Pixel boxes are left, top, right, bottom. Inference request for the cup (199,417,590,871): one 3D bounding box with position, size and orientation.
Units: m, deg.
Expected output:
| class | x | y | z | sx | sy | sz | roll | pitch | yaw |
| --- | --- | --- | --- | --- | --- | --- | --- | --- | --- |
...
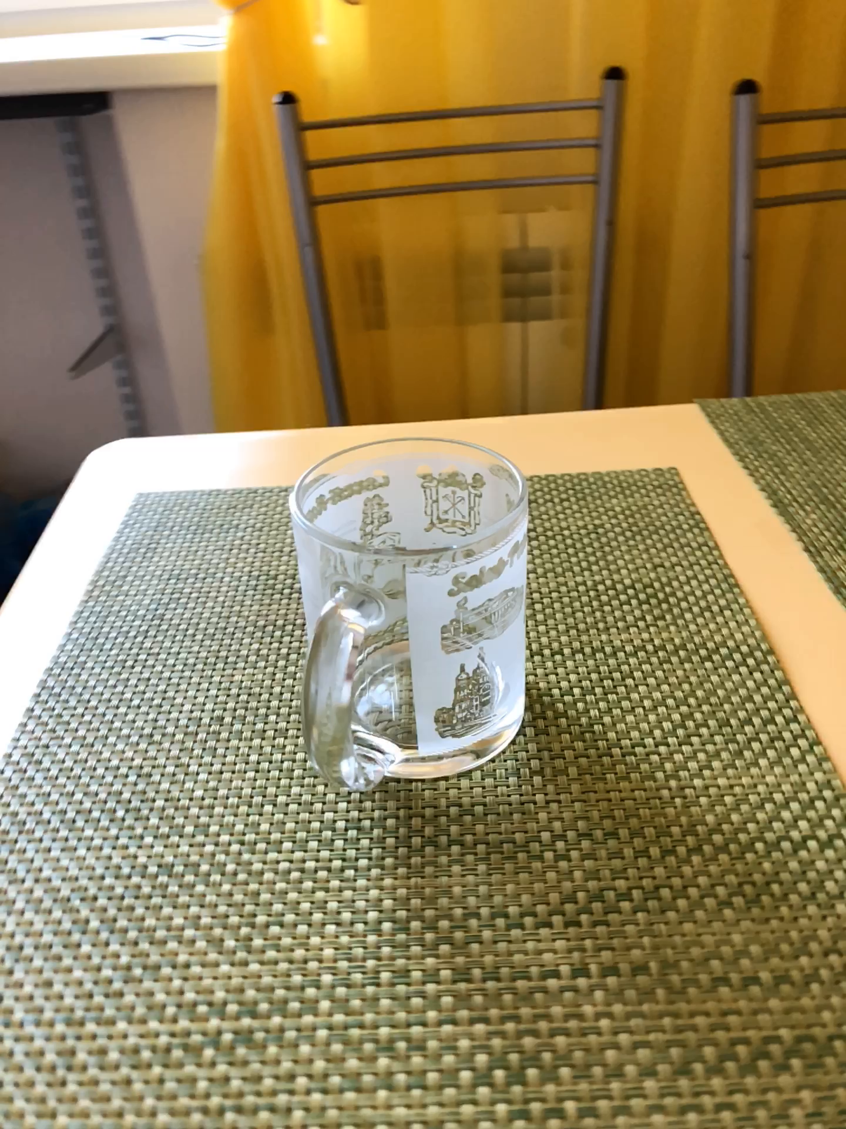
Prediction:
| class | x | y | z | sx | sy | sz | roll | pitch | yaw |
| --- | --- | --- | --- | --- | --- | --- | --- | --- | --- |
| cup | -0.002 | 0.020 | 0.329 | 0.087 | 0.096 | 0.110 | 13 | 36 | 23 |
